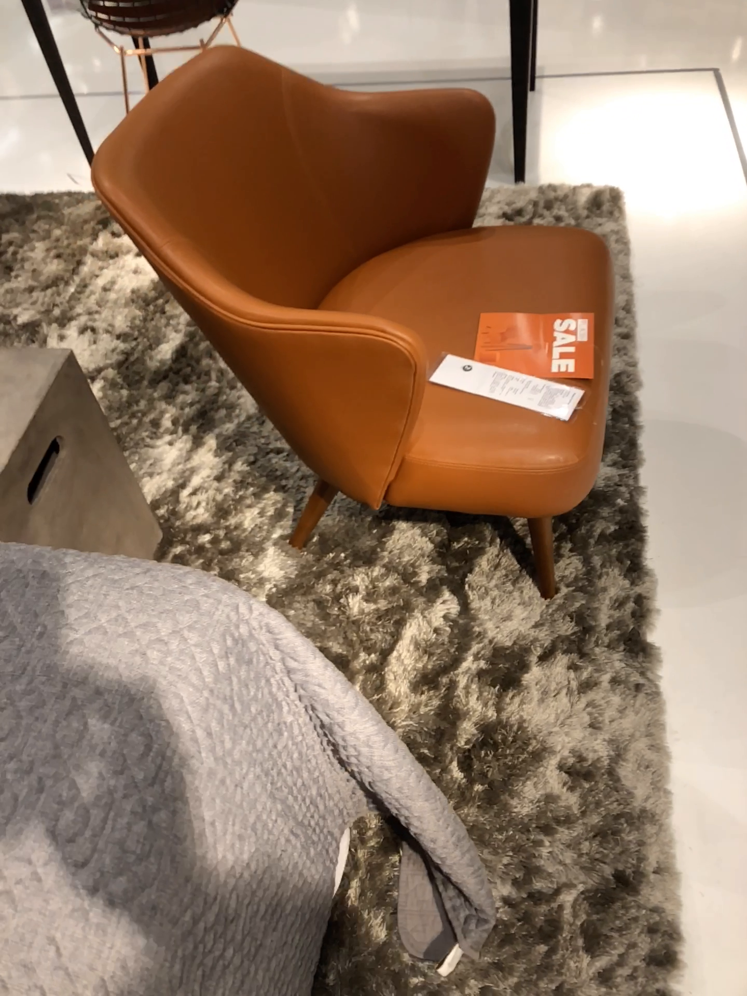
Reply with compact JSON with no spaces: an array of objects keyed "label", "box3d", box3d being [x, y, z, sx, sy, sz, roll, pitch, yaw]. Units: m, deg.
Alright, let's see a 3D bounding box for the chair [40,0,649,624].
[{"label":"chair","box3d":[0.040,-0.288,1.309,0.650,0.705,0.594,7,50,13]}]
